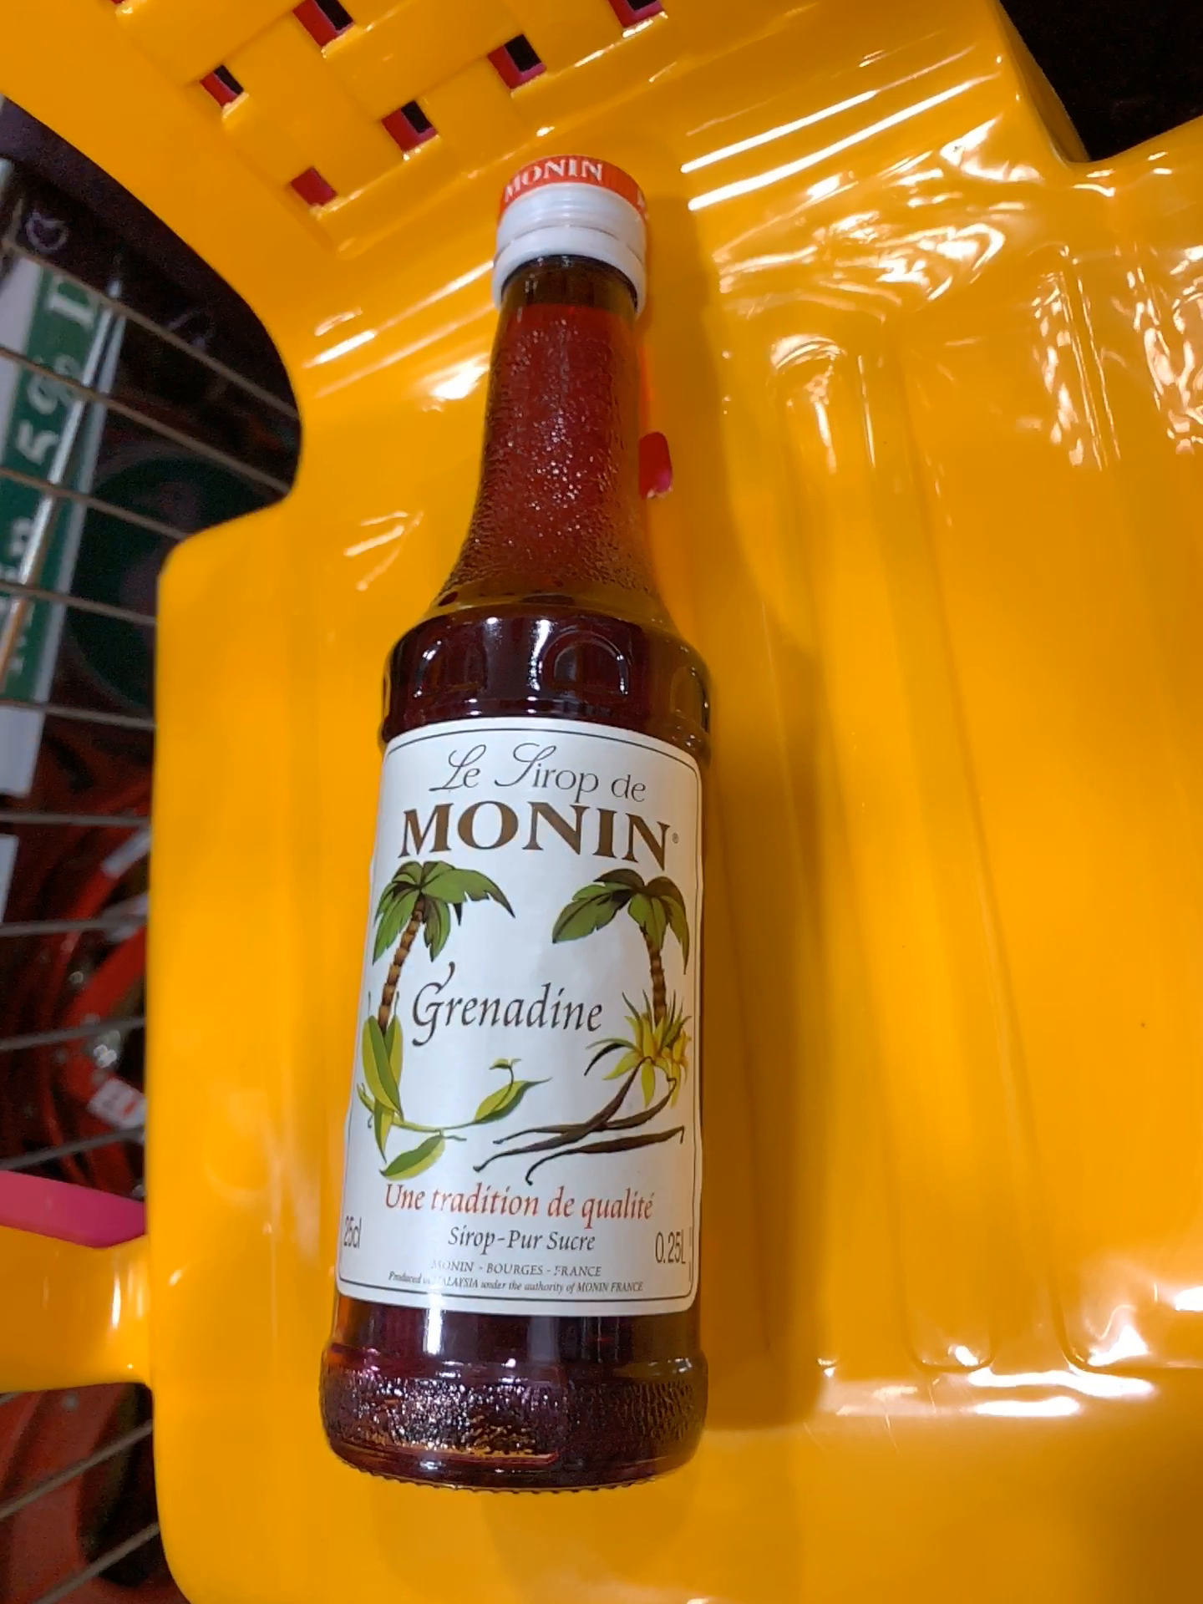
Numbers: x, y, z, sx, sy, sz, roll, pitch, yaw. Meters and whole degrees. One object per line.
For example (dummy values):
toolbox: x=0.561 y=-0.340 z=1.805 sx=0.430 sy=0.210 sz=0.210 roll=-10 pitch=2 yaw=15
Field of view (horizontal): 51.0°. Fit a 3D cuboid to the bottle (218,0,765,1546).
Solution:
bottle: x=-0.009 y=-0.025 z=0.201 sx=0.060 sy=0.050 sz=0.240 roll=4 pitch=73 yaw=-4
